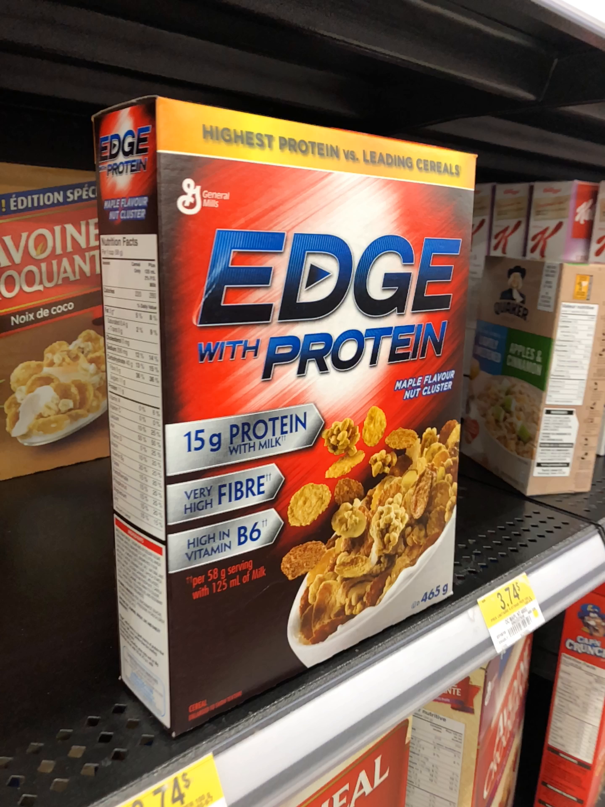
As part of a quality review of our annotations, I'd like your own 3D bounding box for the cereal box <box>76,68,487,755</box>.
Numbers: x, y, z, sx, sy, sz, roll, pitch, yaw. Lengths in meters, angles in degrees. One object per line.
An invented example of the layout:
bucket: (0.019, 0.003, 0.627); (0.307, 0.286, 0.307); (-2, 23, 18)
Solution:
cereal box: (0.001, -0.002, 0.343); (0.200, 0.269, 0.060); (-9, 15, -40)
